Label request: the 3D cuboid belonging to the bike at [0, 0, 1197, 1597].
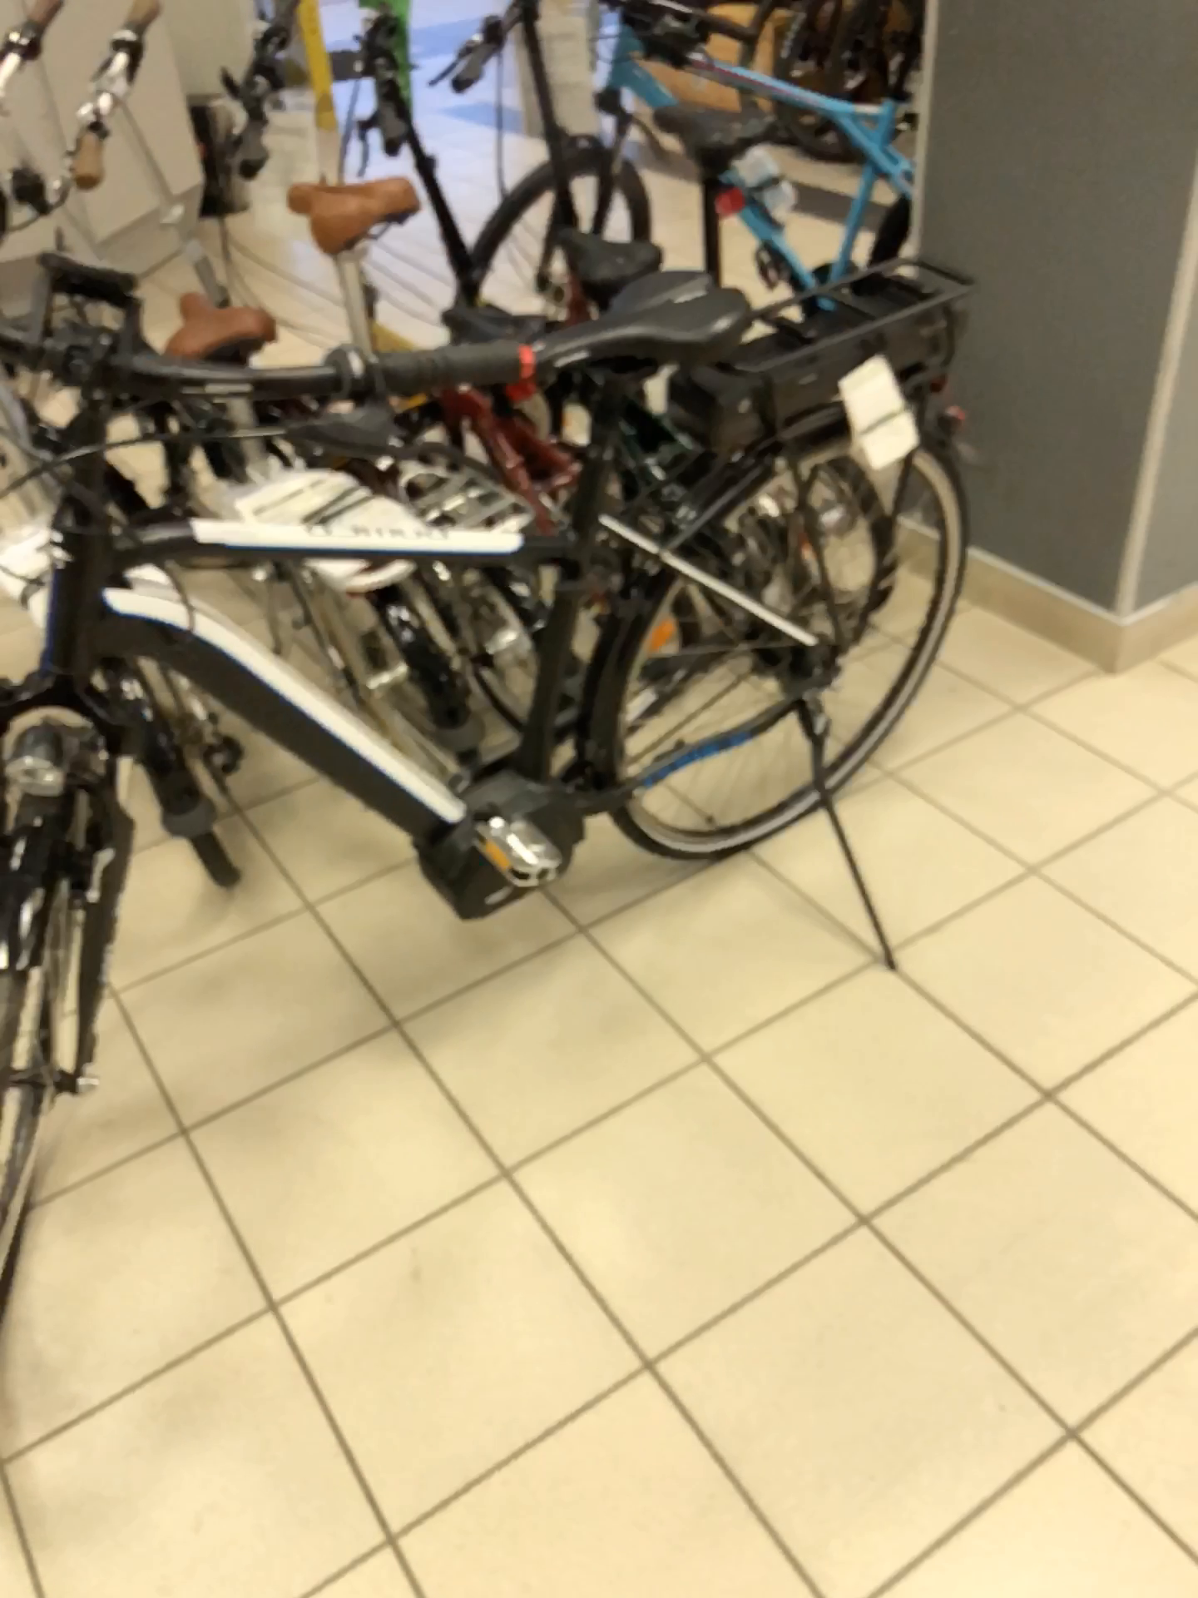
[{"bbox_3d":[-0.022,-0.113,1.436,0.698,1.176,1.616,26,48,35],"label":"bike"}]
